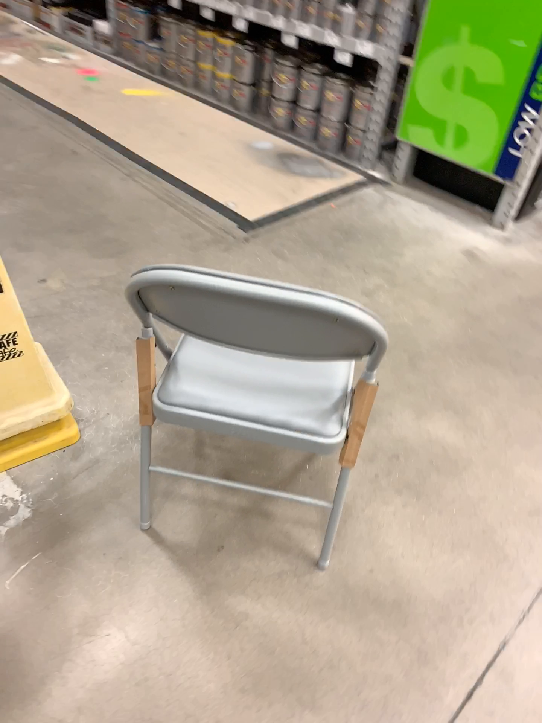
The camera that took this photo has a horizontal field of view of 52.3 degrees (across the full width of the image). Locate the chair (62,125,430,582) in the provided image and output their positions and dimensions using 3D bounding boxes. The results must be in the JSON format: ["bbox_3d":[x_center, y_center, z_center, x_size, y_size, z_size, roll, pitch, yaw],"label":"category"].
[{"bbox_3d":[-0.024,-0.004,1.127,0.487,0.708,0.487,11,41,5],"label":"chair"}]
